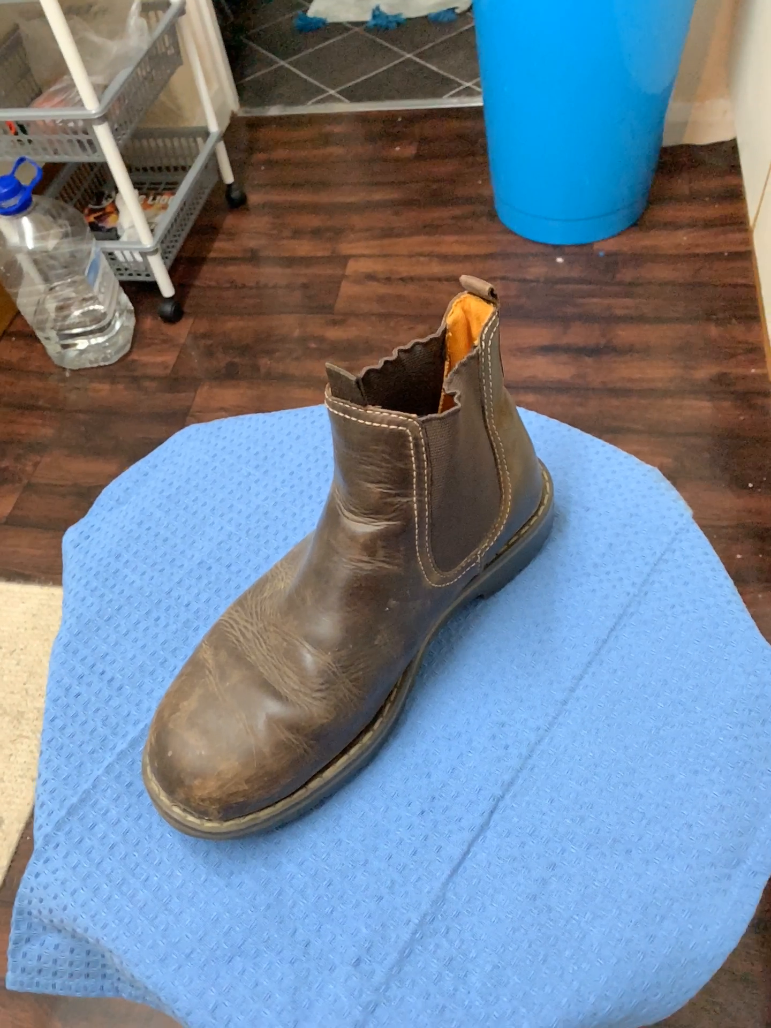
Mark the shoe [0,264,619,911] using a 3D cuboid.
[{"bbox_3d":[-0.018,0.031,0.396,0.106,0.156,0.279,35,65,29],"label":"shoe"}]
